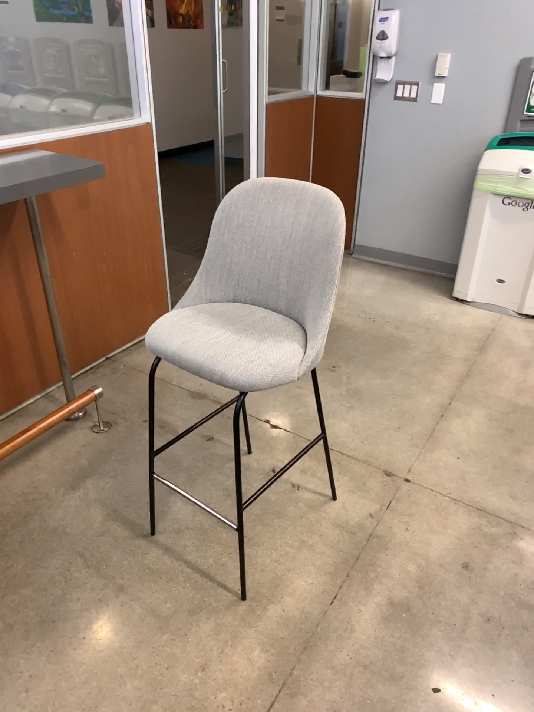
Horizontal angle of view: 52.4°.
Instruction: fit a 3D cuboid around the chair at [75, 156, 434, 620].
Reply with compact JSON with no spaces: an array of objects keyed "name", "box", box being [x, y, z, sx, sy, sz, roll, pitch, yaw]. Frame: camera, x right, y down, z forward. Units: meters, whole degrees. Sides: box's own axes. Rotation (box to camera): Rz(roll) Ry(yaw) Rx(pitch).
[{"name":"chair","box":[-0.001,0.035,1.730,0.592,1.094,0.812,21,36,30]}]
